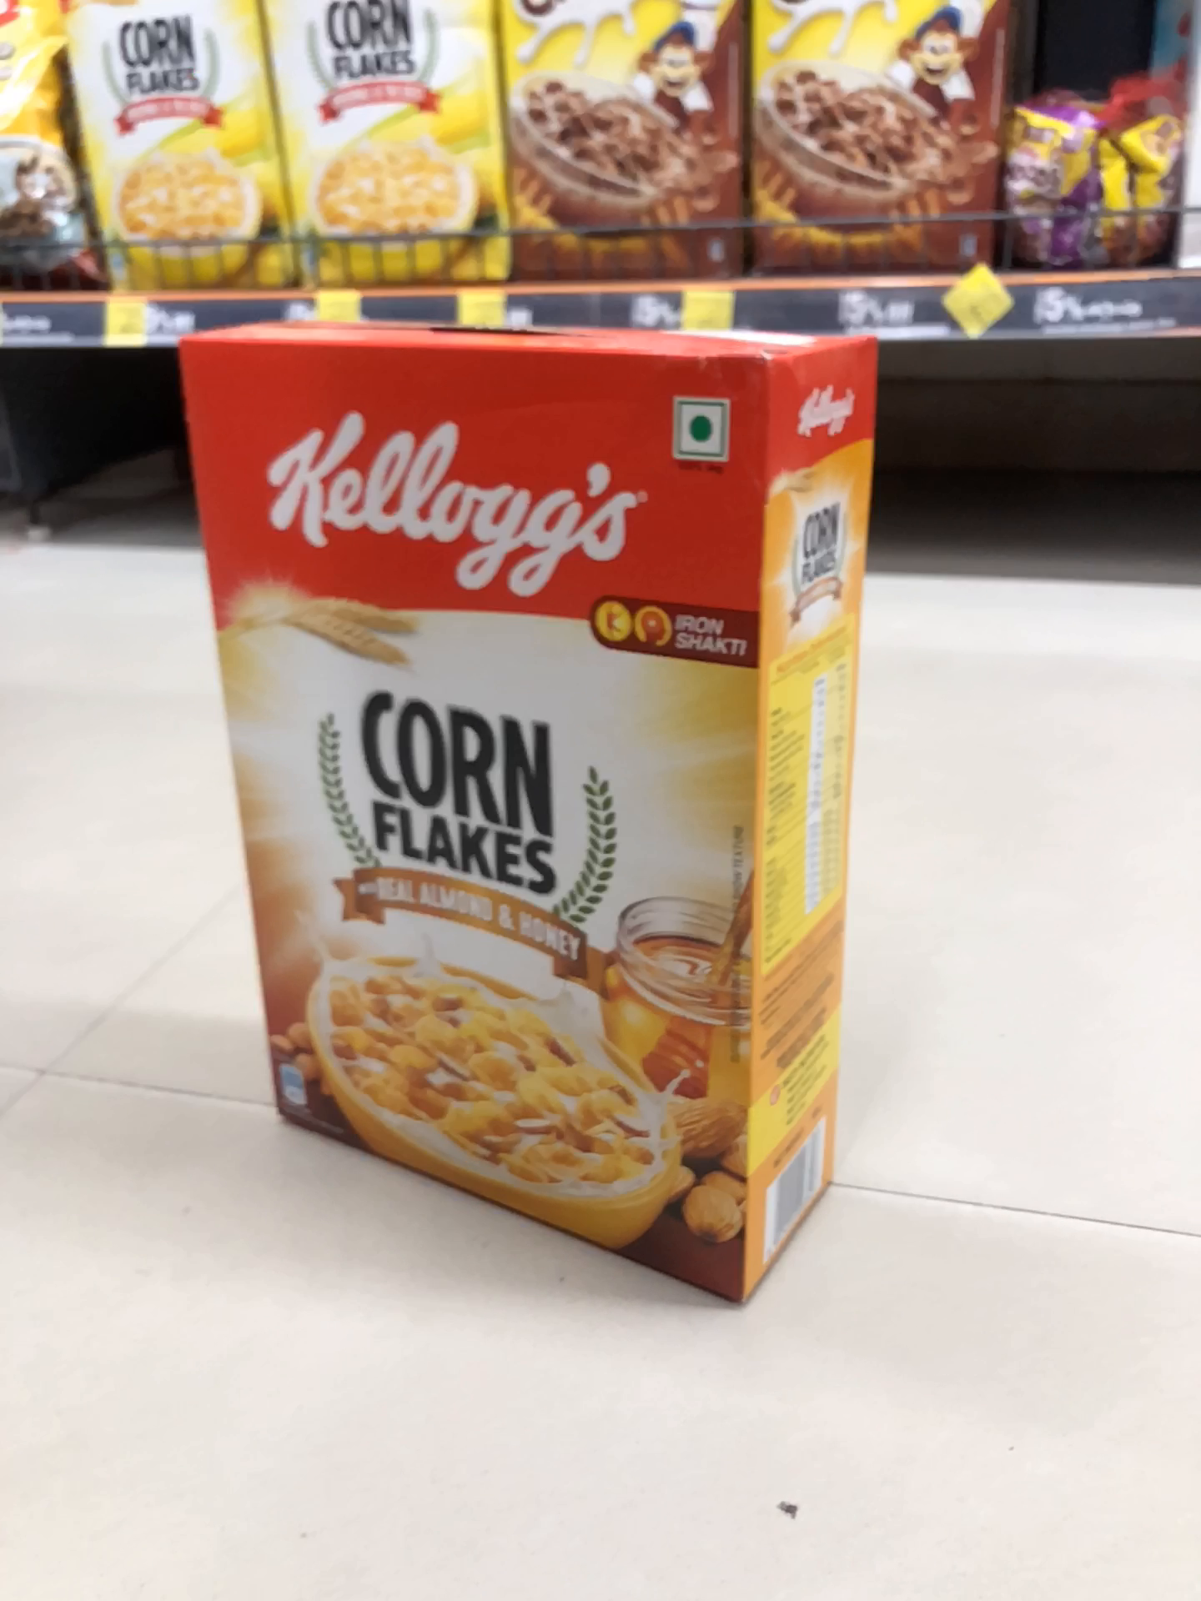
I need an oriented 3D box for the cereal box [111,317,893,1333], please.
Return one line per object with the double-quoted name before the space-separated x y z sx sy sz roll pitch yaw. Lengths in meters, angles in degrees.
"cereal box" -0.027 -0.002 0.385 0.190 0.249 0.070 12 27 30
